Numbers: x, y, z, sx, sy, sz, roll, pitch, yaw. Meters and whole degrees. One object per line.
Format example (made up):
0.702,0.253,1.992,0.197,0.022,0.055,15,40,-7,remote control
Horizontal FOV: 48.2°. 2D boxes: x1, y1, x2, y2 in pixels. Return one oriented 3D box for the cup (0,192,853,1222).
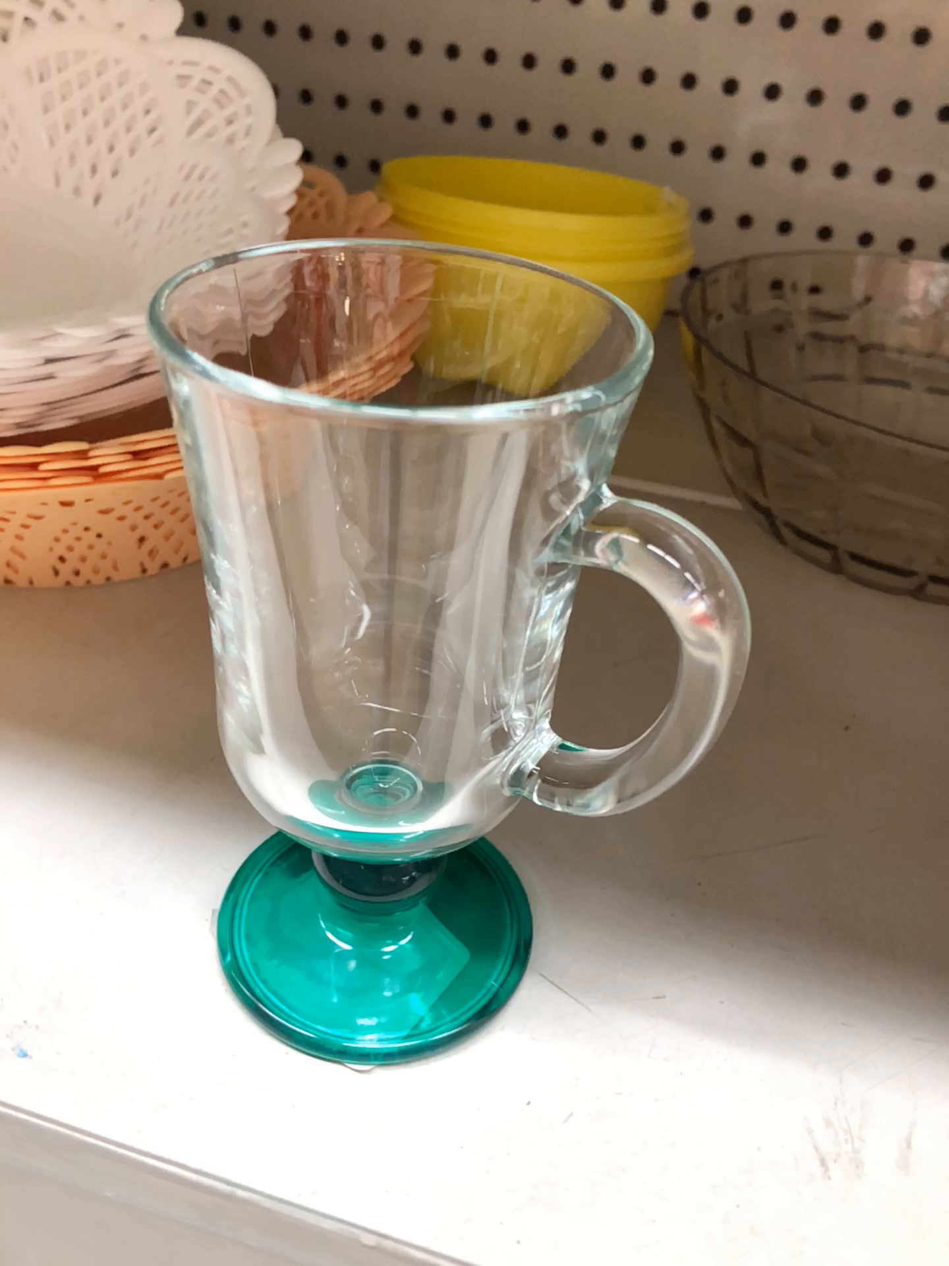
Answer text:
-0.013,0.004,0.179,0.107,0.118,0.086,18,38,21,cup
